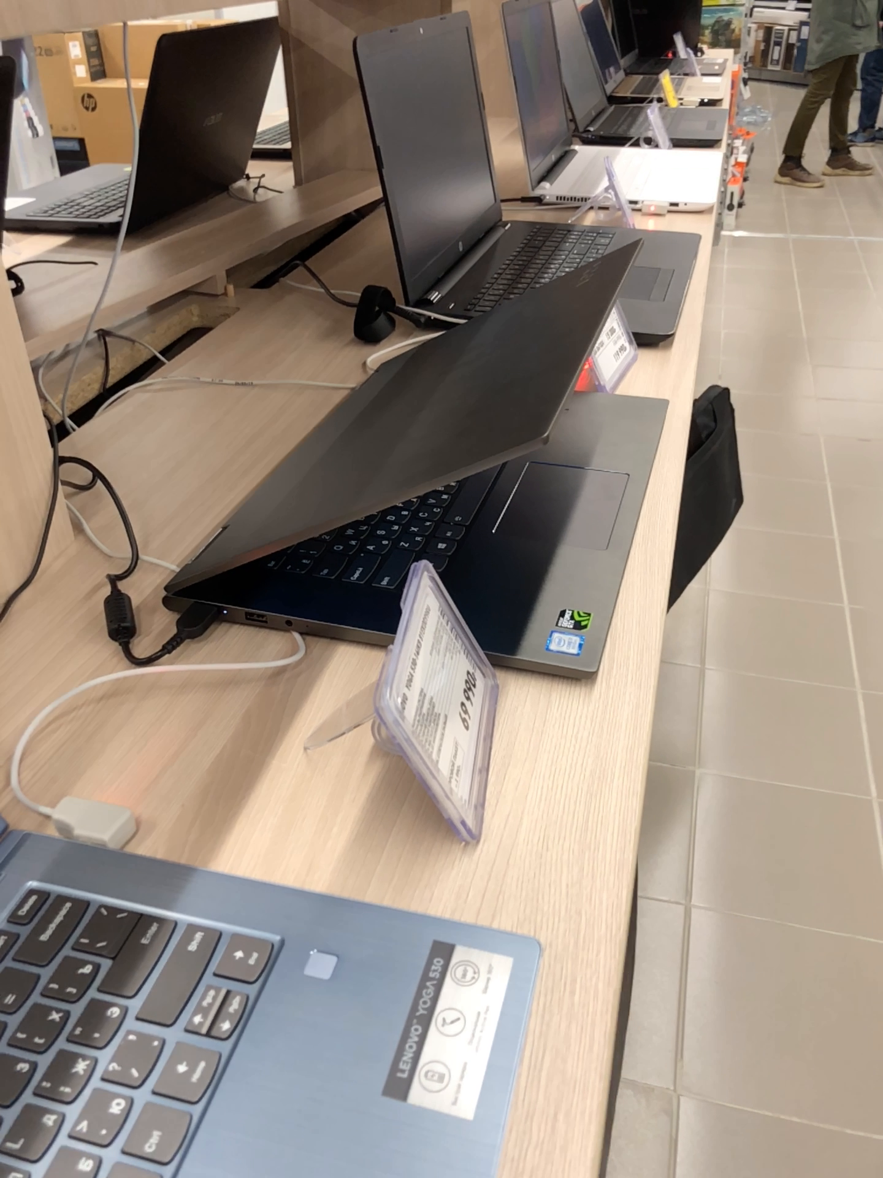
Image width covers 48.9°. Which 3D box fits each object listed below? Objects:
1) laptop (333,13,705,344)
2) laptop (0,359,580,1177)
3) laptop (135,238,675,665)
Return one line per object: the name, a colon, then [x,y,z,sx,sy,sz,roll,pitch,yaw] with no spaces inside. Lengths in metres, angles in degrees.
laptop: [0.109,-0.467,1.055,0.304,0.240,0.404,9,34,11]
laptop: [-0.180,0.114,0.201,0.342,0.201,0.356,7,32,12]
laptop: [0.011,-0.123,0.647,0.242,0.118,0.364,9,33,14]
